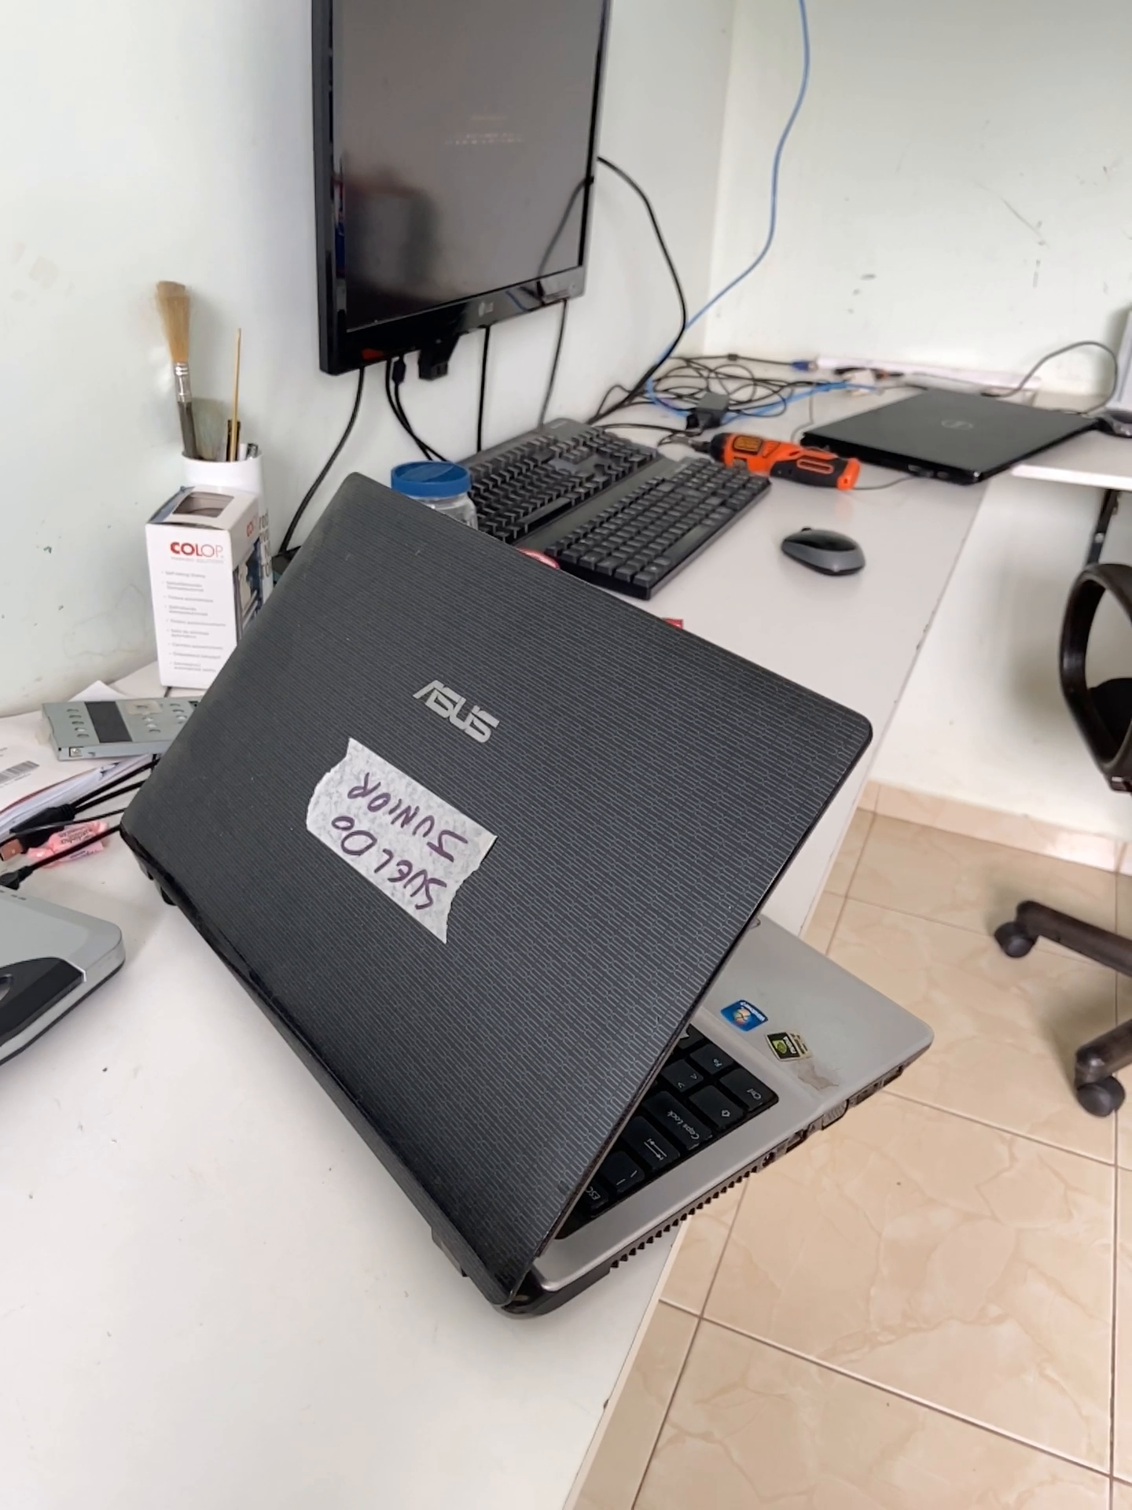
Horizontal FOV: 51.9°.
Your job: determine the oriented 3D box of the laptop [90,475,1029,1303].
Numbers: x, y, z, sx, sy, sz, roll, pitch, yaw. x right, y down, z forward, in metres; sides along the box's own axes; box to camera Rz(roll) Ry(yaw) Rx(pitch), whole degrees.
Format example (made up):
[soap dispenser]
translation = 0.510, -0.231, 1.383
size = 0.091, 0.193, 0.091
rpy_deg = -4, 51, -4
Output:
[laptop]
translation = -0.029, 0.009, 0.567
size = 0.247, 0.182, 0.377
rpy_deg = -18, 34, -34
